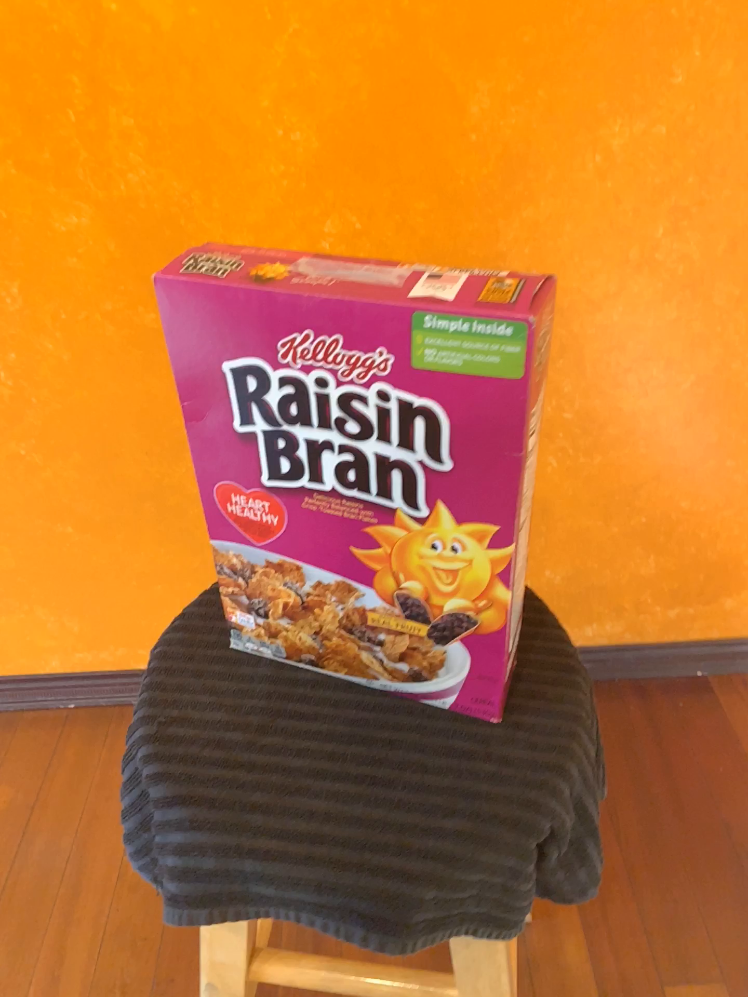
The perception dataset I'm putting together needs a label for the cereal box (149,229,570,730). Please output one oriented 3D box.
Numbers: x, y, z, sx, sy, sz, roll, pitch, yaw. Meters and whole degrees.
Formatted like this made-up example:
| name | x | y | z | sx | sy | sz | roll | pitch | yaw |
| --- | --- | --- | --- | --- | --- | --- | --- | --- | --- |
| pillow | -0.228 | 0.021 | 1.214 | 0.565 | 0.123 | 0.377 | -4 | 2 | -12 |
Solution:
| name | x | y | z | sx | sy | sz | roll | pitch | yaw |
| --- | --- | --- | --- | --- | --- | --- | --- | --- | --- |
| cereal box | -0.004 | -0.001 | 0.465 | 0.200 | 0.288 | 0.060 | 11 | 39 | 18 |
